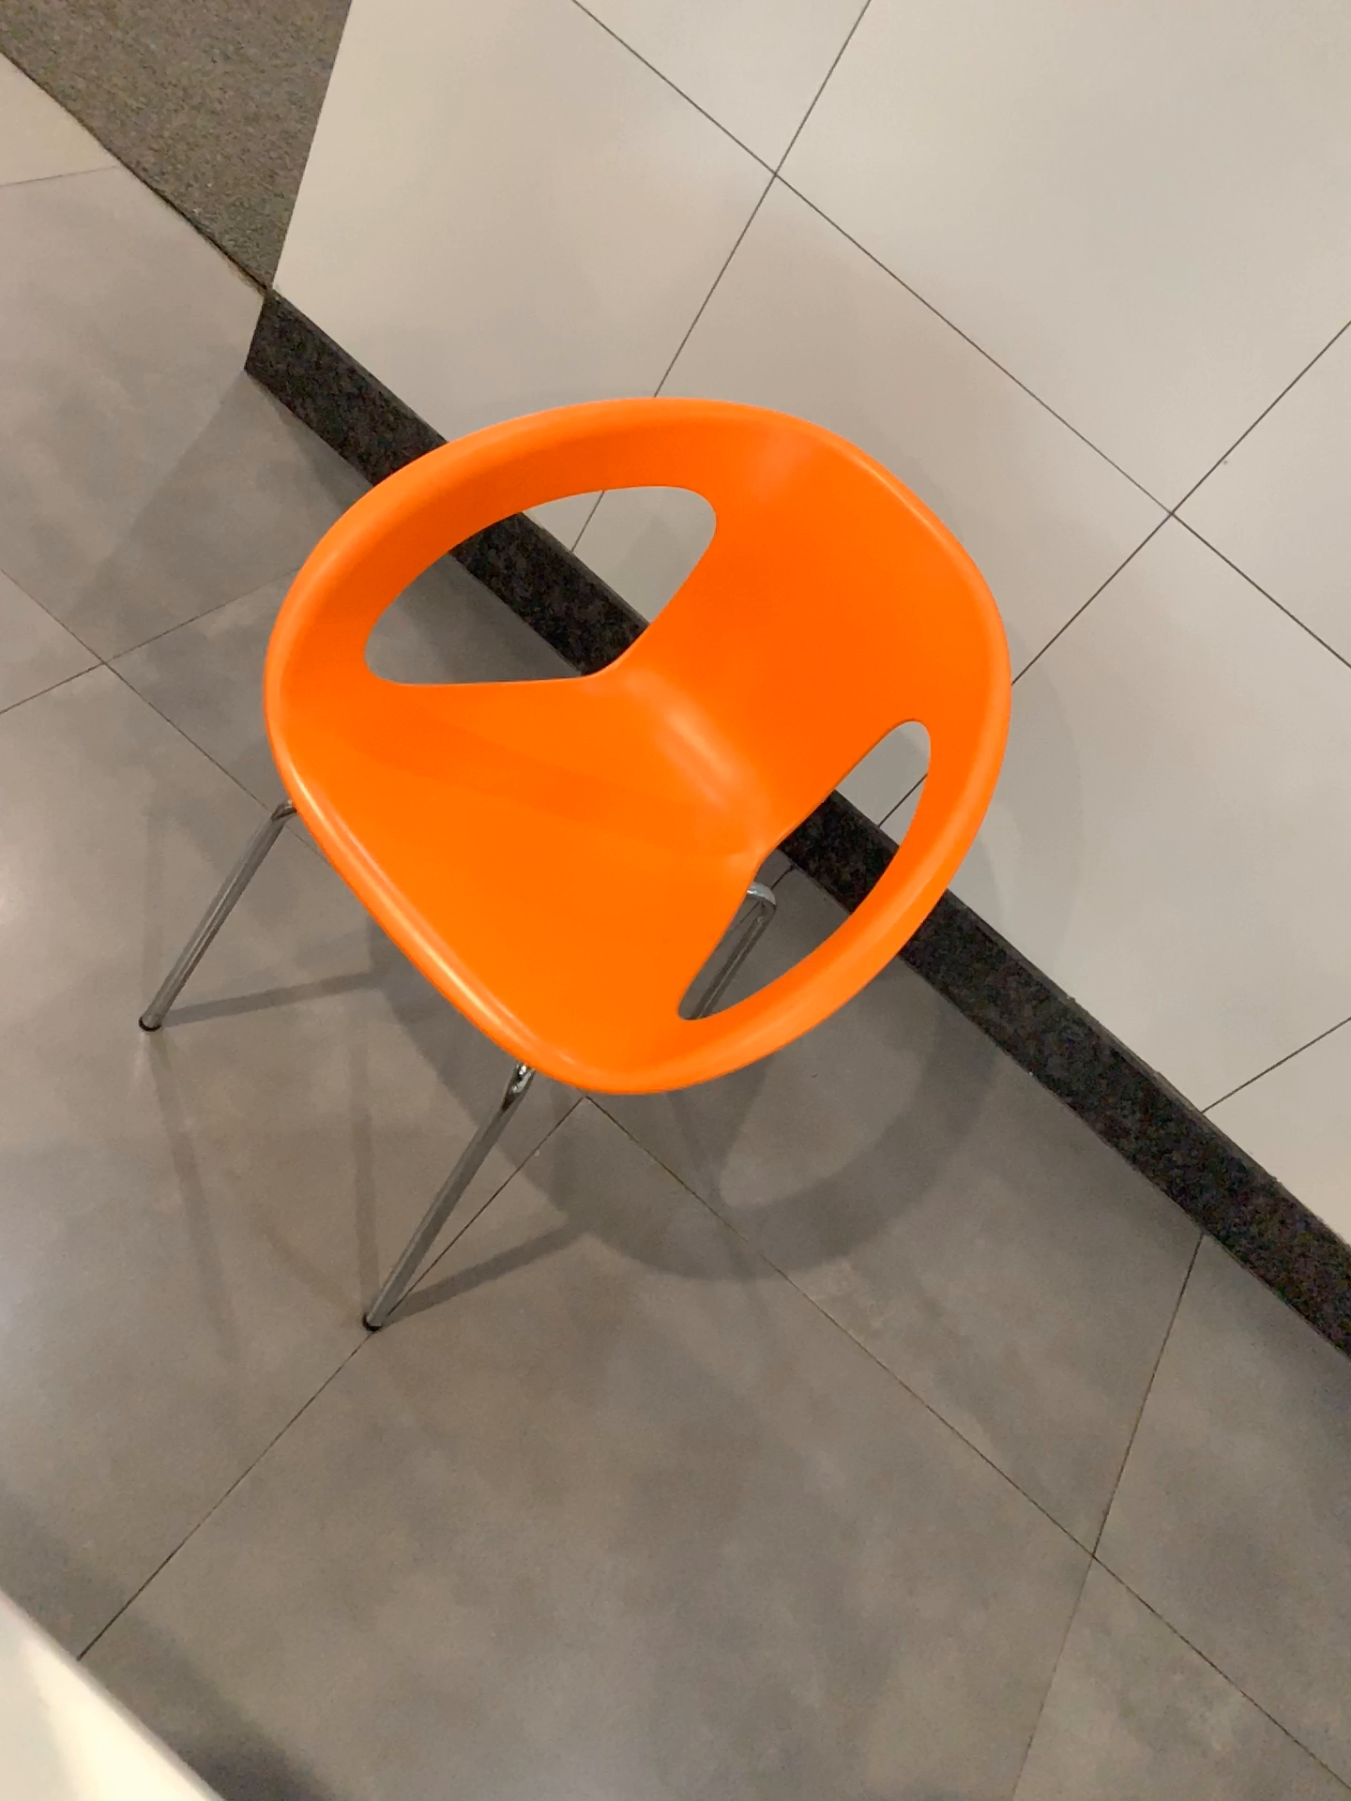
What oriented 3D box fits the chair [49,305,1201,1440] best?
[{"bbox_3d":[-0.077,-0.049,1.333,0.661,0.665,0.644,49,45,10],"label":"chair"}]
